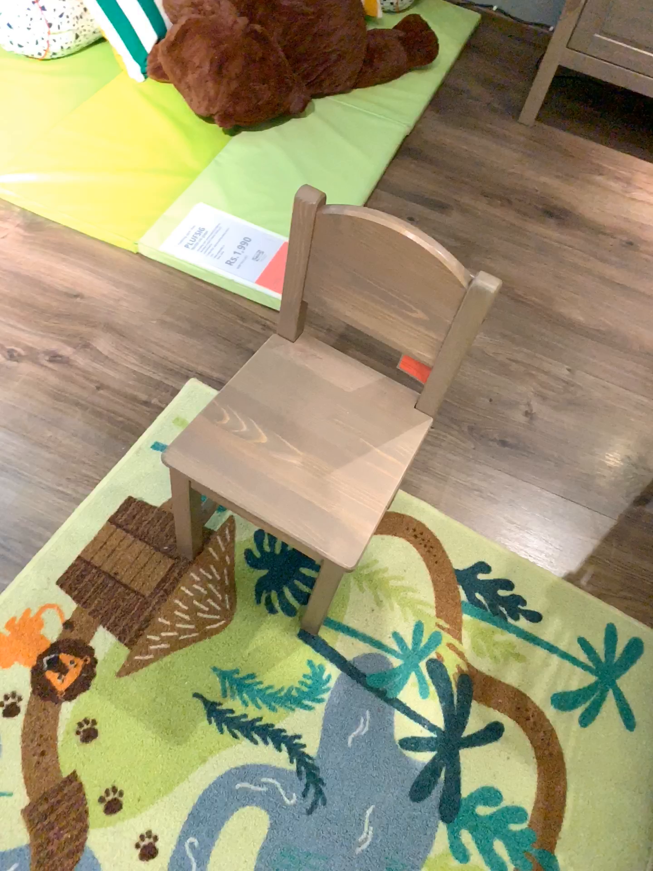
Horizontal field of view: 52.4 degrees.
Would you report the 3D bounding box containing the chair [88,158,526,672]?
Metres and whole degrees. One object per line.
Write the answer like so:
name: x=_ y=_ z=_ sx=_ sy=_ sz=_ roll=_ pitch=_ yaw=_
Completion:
chair: x=-0.033 y=0.008 z=0.827 sx=0.290 sy=0.489 sz=0.331 roll=29 pitch=56 yaw=9
